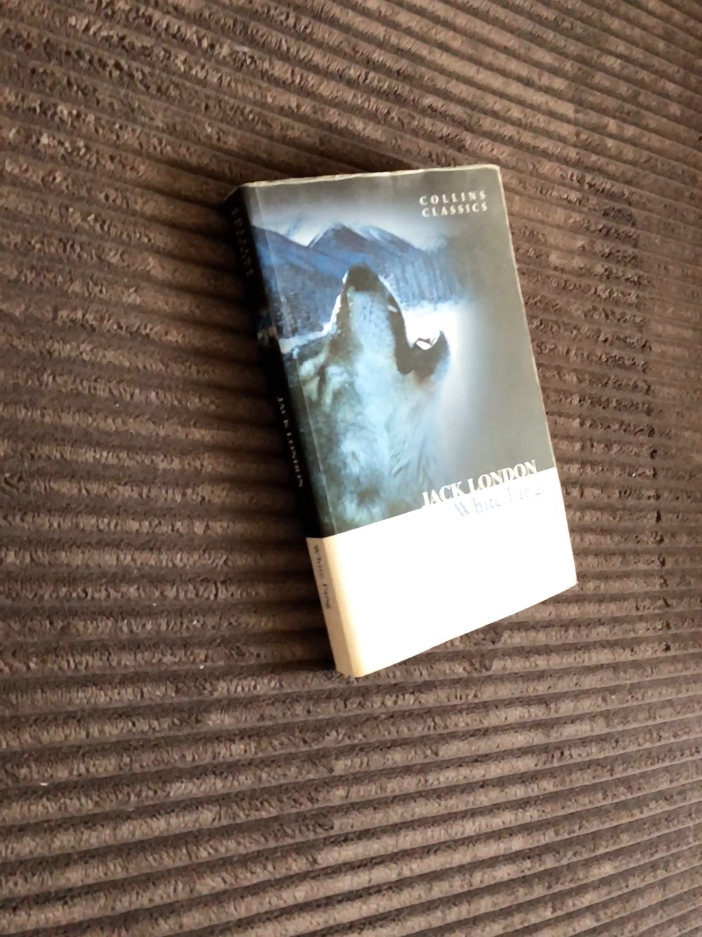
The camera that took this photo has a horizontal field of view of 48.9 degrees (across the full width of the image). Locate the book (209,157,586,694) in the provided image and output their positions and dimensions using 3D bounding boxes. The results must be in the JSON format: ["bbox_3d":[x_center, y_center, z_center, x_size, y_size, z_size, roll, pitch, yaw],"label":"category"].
[{"bbox_3d":[0.022,-0.021,0.296,0.115,0.030,0.178,-13,96,-24],"label":"book"}]
